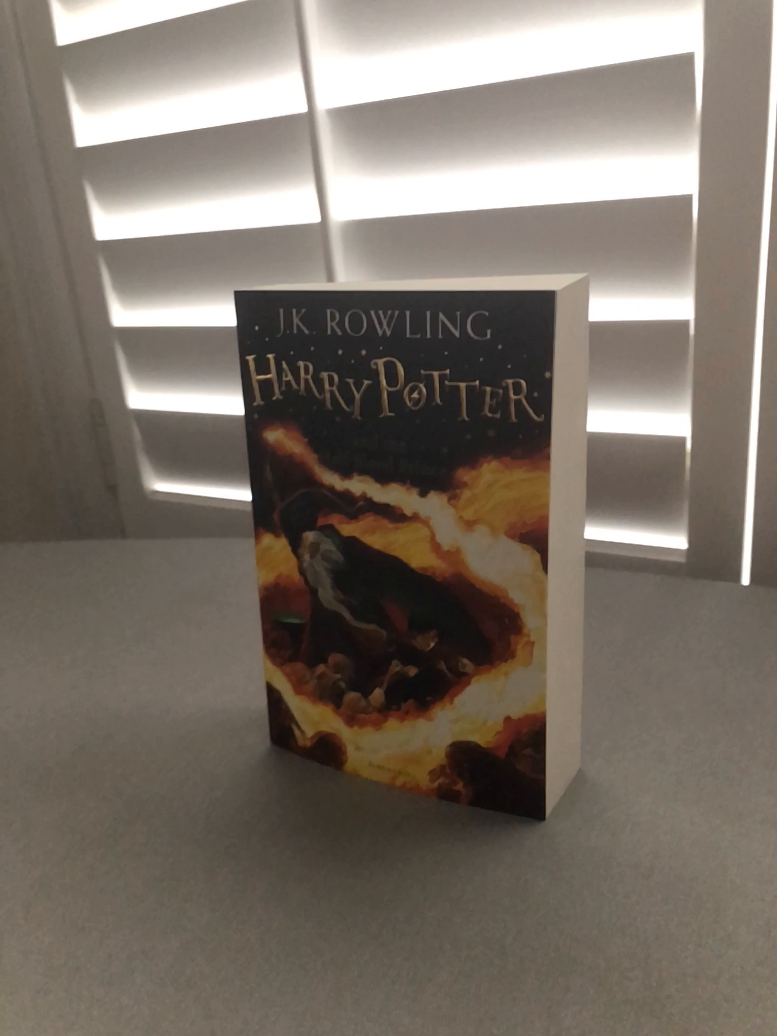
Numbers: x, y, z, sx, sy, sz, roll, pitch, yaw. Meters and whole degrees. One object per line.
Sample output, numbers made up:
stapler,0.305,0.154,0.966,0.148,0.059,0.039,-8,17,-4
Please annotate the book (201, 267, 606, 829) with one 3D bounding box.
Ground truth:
book,0.007,0.006,0.339,0.142,0.194,0.047,6,19,30
